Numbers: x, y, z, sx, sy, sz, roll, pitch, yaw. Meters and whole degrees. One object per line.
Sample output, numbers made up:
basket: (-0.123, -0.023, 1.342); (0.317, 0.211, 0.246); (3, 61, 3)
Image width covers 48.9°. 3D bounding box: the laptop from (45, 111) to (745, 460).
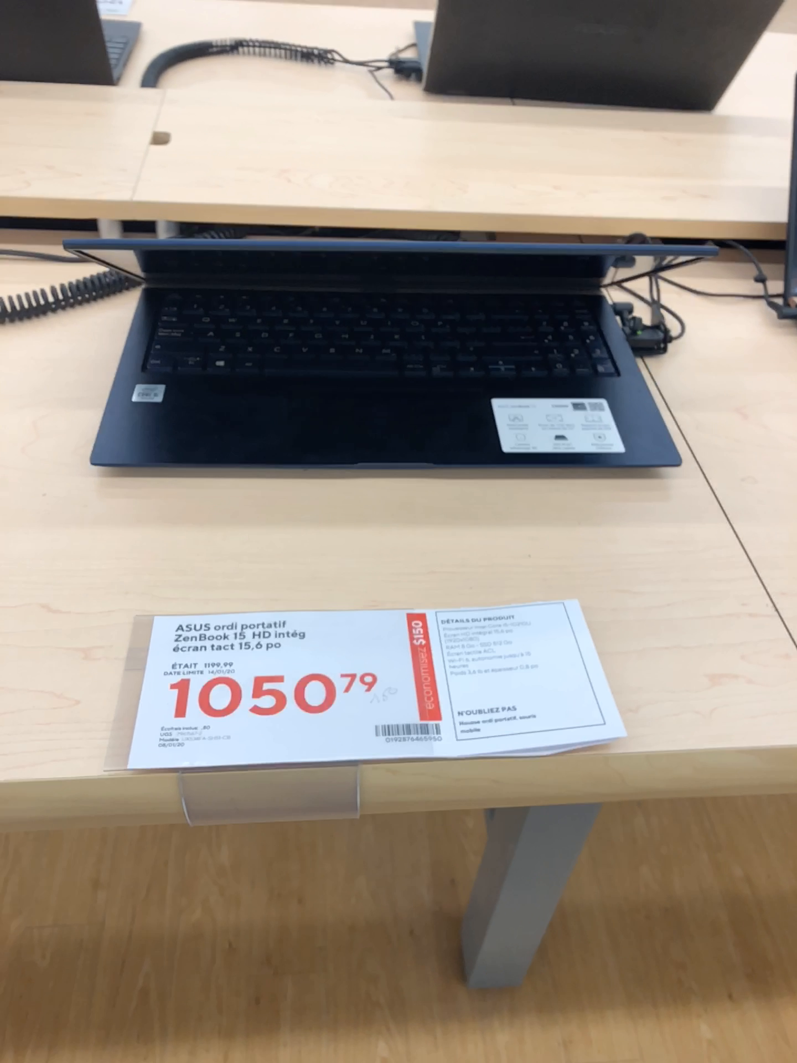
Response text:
laptop: (-0.004, -0.156, 0.546); (0.346, 0.119, 0.205); (0, 44, -6)
